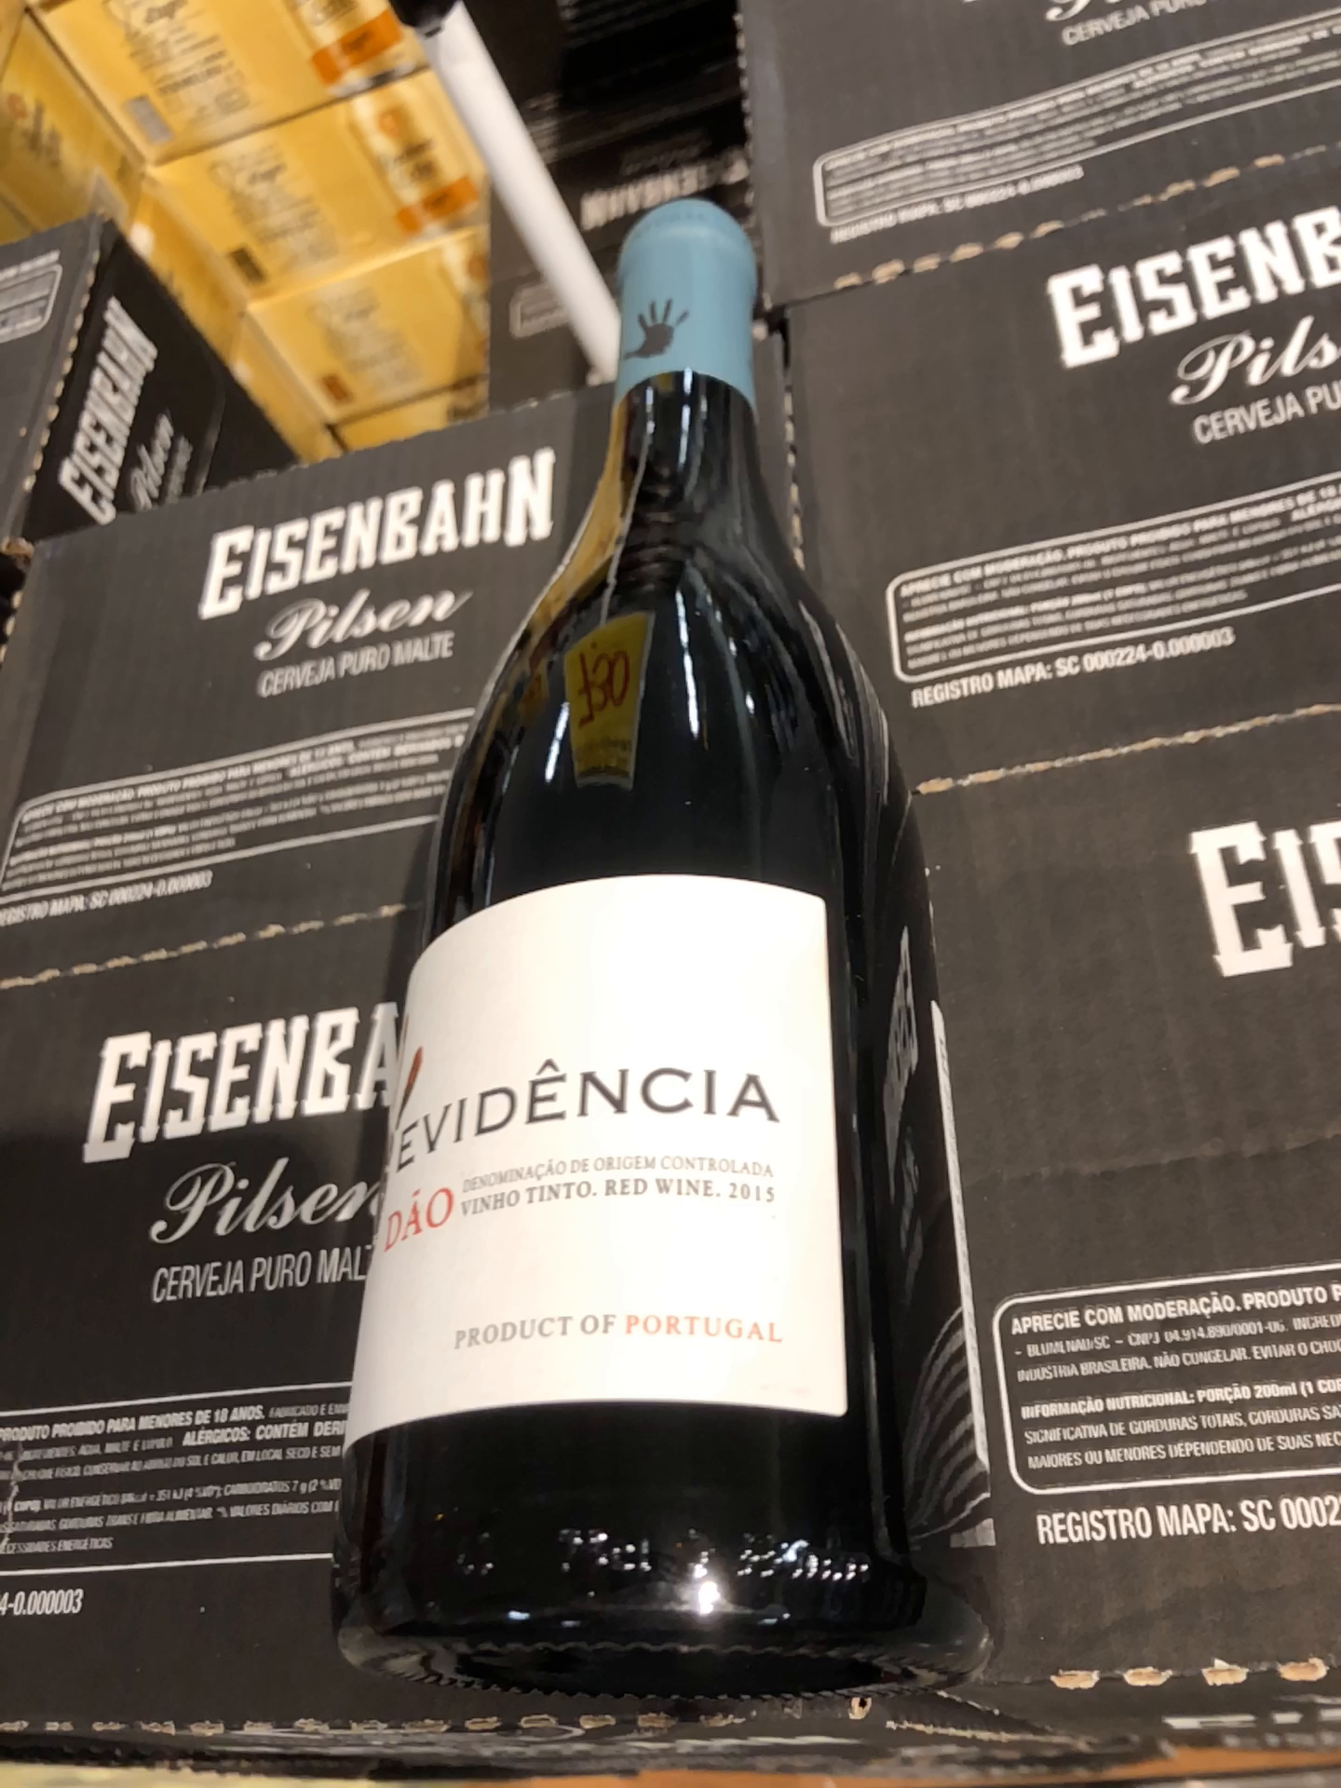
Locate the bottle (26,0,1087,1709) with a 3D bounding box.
[{"bbox_3d":[-0.007,-0.047,0.263,0.100,0.090,0.331,-10,59,17],"label":"bottle"}]
